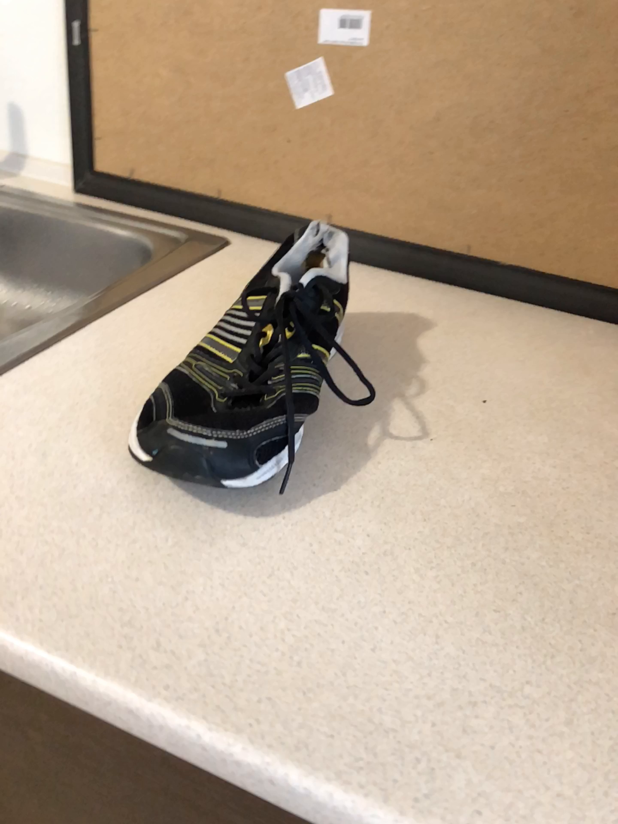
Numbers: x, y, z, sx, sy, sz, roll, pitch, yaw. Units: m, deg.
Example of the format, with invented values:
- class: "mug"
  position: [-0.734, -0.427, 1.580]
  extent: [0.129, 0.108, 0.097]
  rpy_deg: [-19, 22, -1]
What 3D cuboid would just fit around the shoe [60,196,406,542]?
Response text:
- class: "shoe"
  position: [-0.027, -0.059, 0.487]
  extent: [0.110, 0.099, 0.312]
  rpy_deg: [15, 34, 14]
